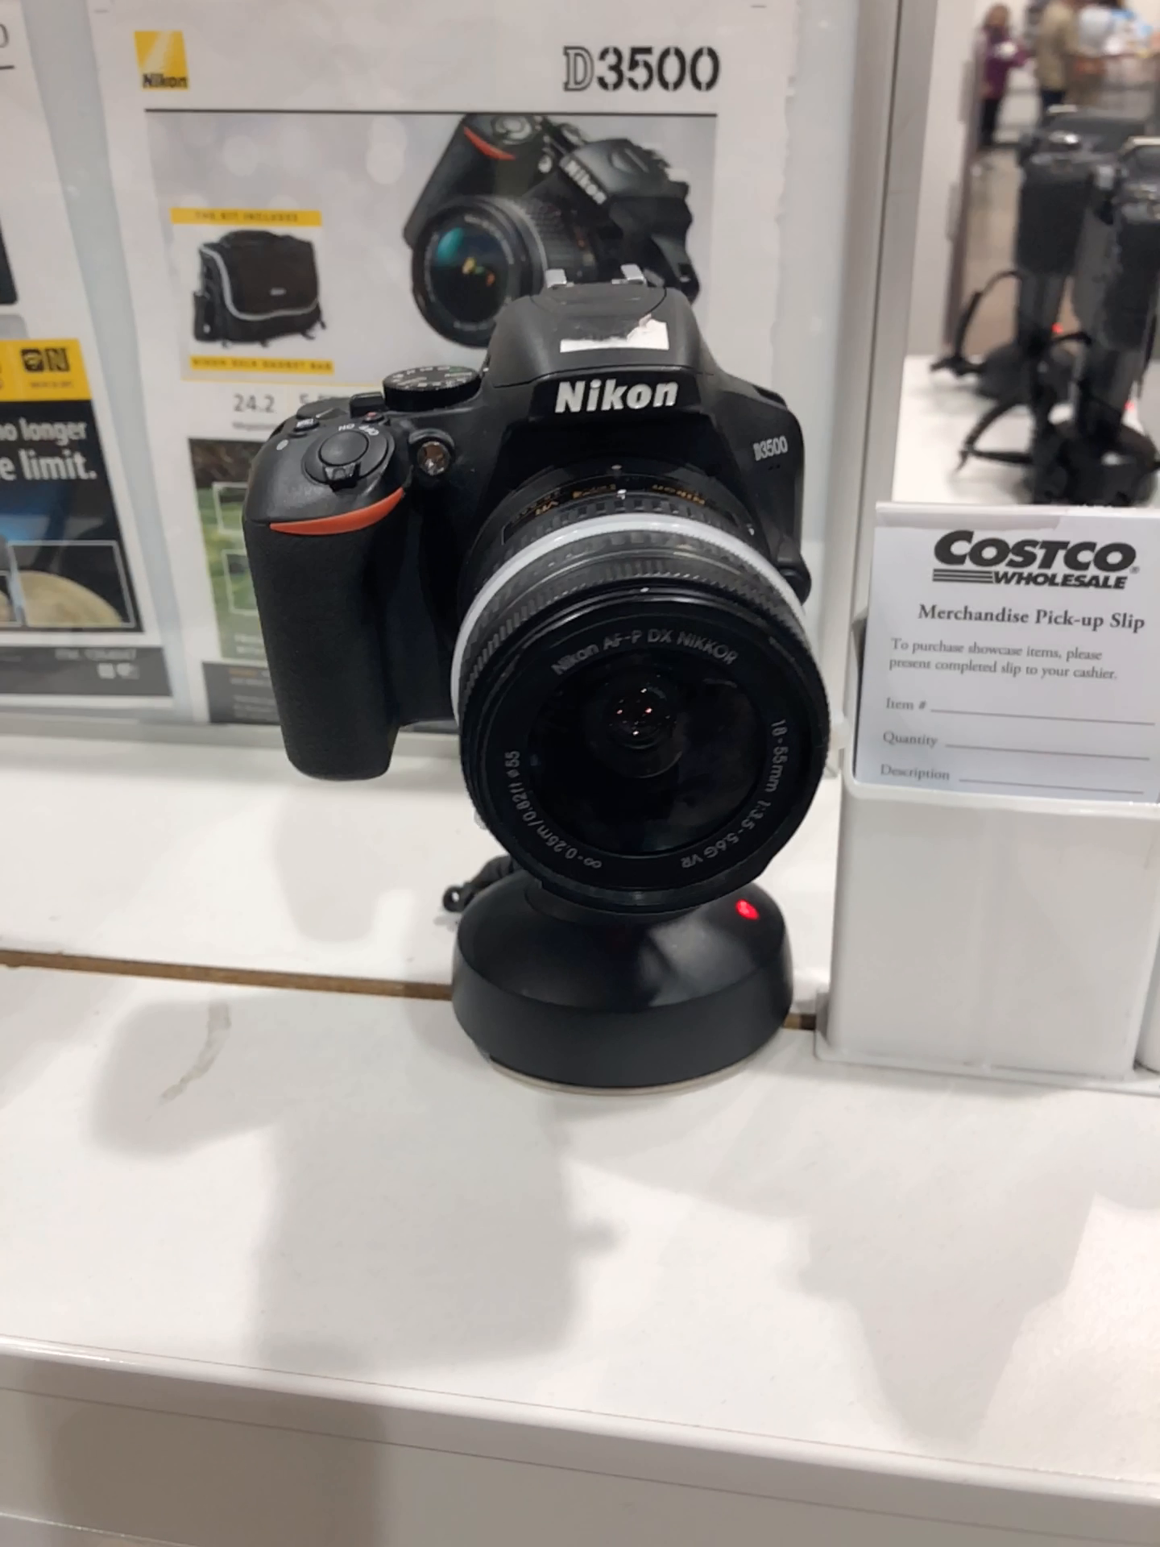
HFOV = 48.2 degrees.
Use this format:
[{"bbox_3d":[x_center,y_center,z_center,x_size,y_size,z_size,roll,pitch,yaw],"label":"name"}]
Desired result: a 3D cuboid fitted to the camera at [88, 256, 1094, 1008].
[{"bbox_3d":[-0.001,-0.038,0.256,0.140,0.100,0.121,-5,28,-4],"label":"camera"}]
